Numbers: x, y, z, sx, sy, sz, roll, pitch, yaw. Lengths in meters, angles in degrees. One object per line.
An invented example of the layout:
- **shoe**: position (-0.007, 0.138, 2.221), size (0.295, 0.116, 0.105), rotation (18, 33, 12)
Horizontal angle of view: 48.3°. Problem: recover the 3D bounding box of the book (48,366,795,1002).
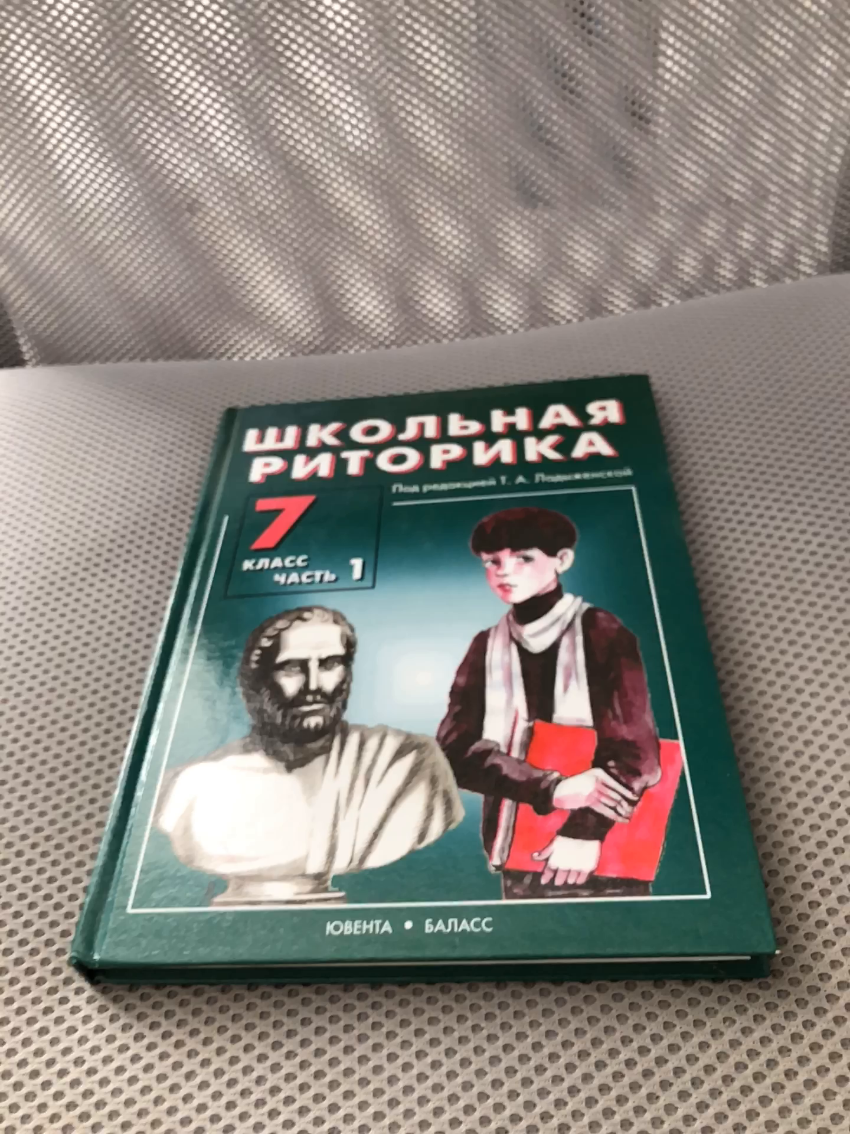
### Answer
- **book**: position (0.000, 0.018, 0.294), size (0.167, 0.030, 0.211), rotation (-3, 46, 5)
